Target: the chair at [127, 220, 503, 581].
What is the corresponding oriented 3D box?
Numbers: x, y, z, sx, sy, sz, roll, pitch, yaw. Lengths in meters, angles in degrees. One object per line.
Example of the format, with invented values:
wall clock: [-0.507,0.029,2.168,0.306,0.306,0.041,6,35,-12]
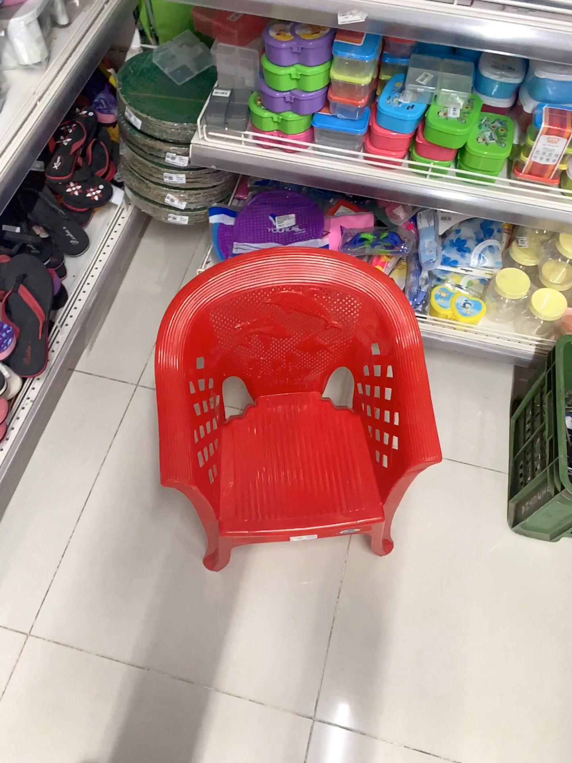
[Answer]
chair: [0.026,0.062,1.101,0.500,0.479,0.491,-3,61,-2]
